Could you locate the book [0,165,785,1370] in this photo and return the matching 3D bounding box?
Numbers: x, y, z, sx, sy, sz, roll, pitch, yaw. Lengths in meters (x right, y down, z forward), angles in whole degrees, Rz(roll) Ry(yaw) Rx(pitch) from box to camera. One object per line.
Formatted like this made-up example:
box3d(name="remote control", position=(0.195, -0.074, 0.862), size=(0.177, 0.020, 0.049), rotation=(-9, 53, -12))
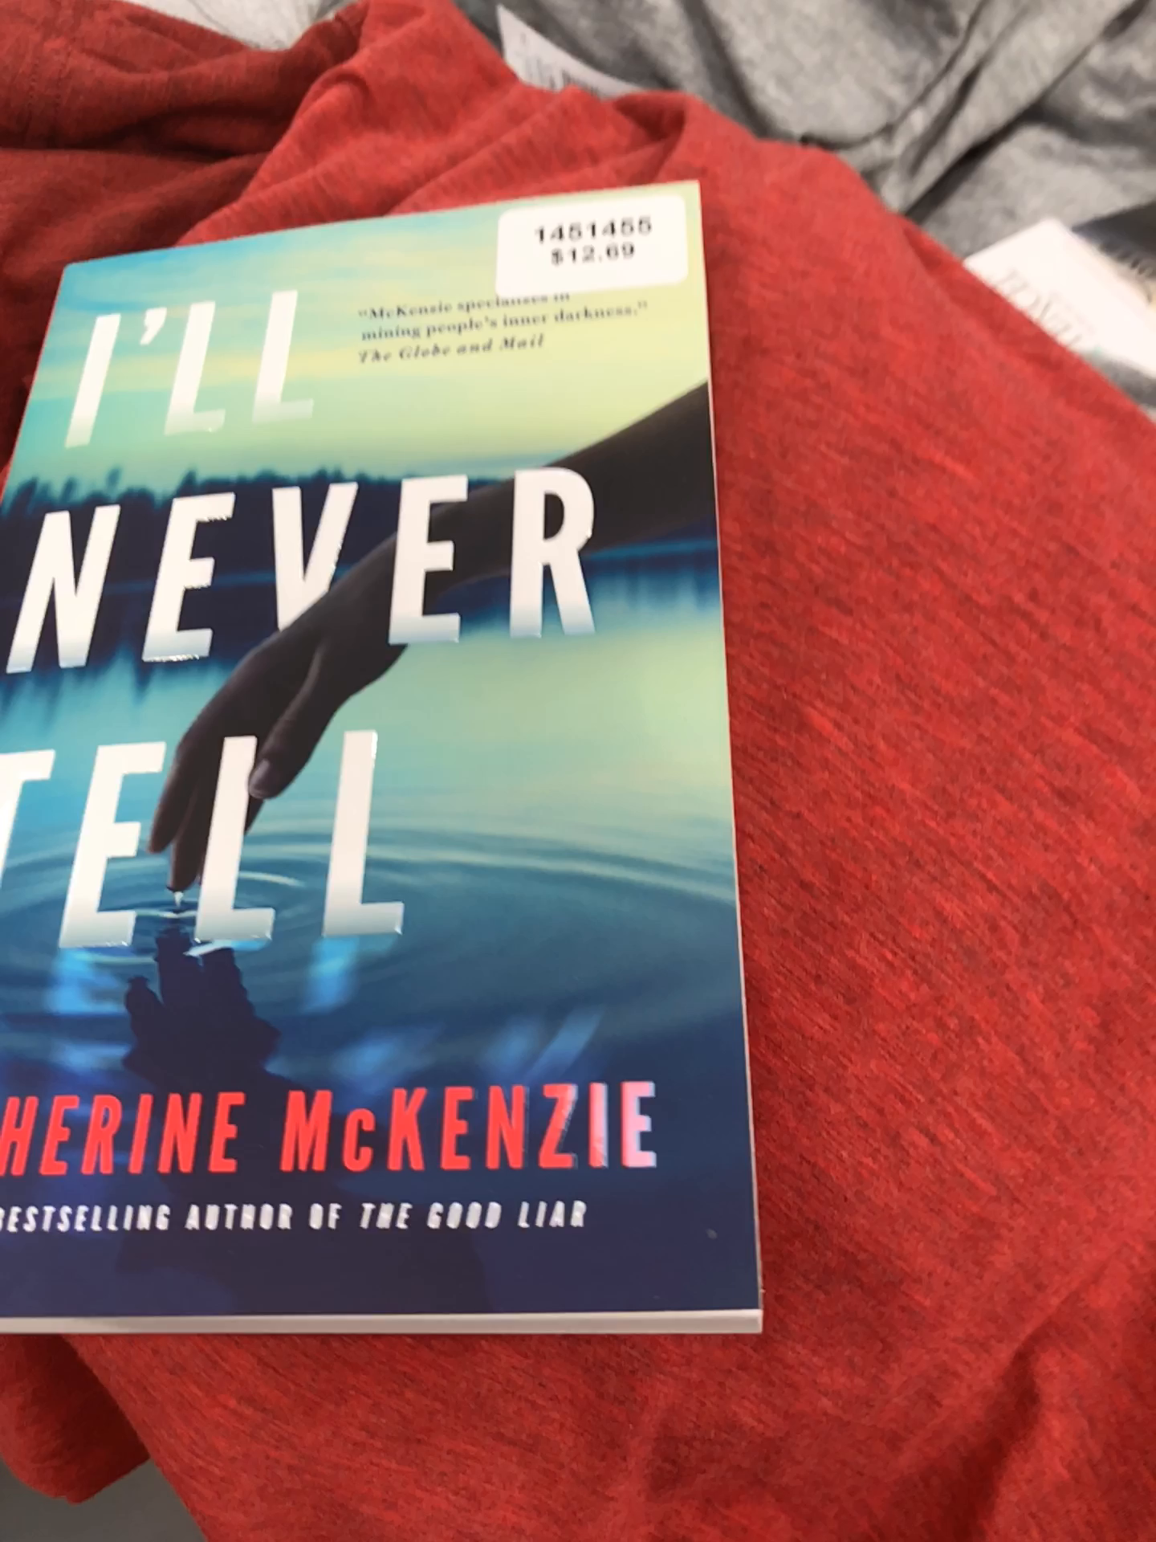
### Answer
box3d(name="book", position=(-0.044, -0.012, 0.225), size=(0.143, 0.032, 0.209), rotation=(-4, 62, 8))
